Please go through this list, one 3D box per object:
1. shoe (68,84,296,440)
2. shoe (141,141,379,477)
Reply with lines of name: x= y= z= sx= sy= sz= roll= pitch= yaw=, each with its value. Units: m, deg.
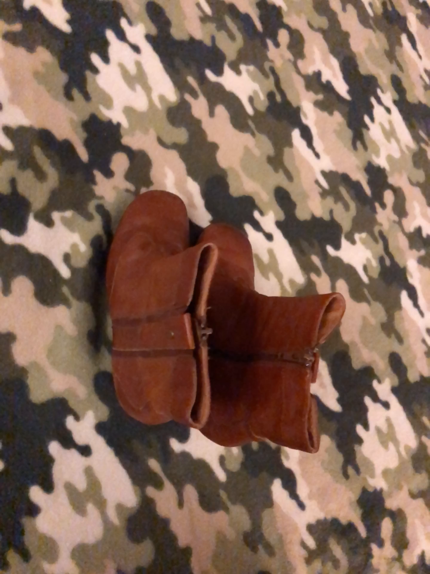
shoe: x=-0.036 y=-0.004 z=0.390 sx=0.090 sy=0.189 sz=0.220 roll=15 pitch=73 yaw=-22
shoe: x=0.031 y=0.027 z=0.415 sx=0.090 sy=0.189 sz=0.220 roll=18 pitch=72 yaw=-21
